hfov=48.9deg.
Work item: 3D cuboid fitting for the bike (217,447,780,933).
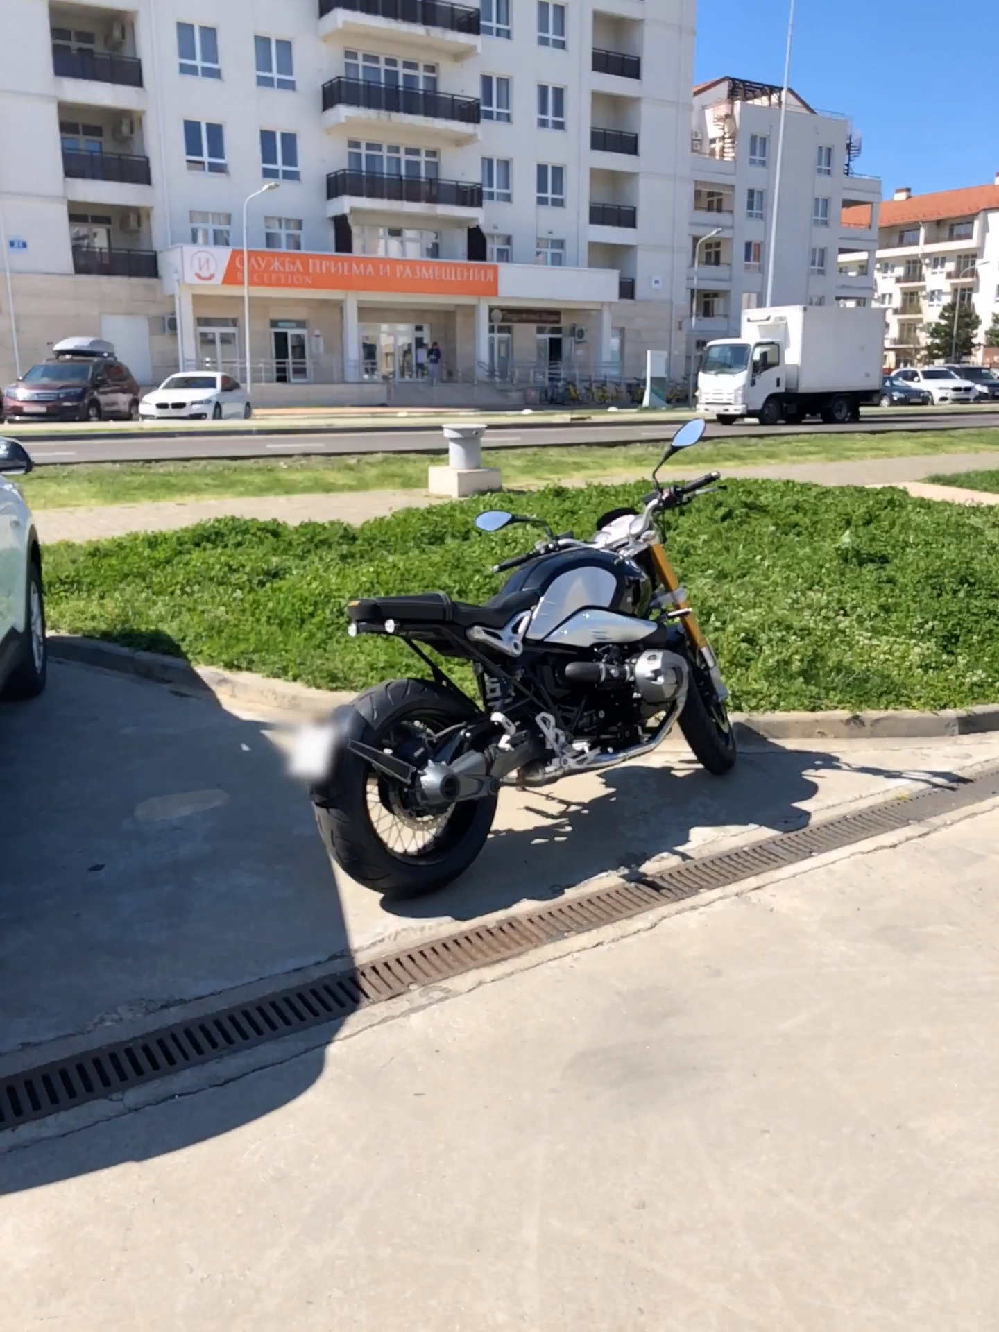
[{"bbox_3d":[0.106,-0.106,3.489,0.777,1.014,1.837,11,19,38],"label":"bike"}]
